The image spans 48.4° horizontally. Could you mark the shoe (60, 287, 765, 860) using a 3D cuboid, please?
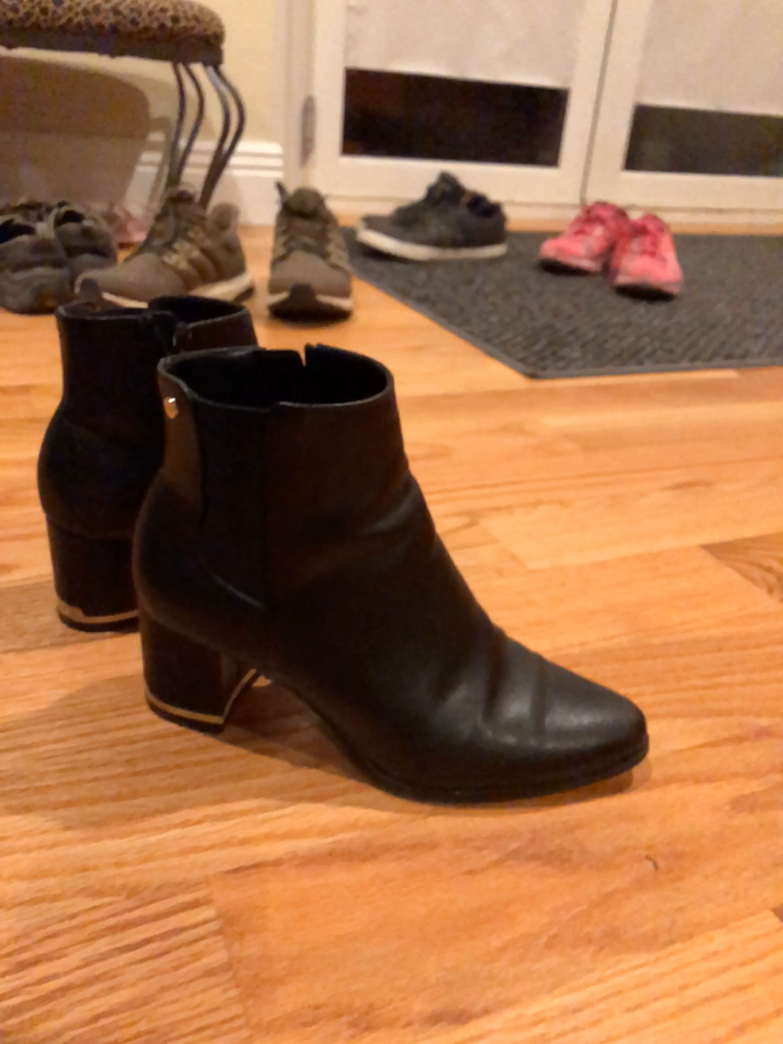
[{"bbox_3d":[0.003,0.013,0.364,0.236,0.175,0.096,10,26,10],"label":"shoe"}]

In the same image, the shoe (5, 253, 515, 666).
[{"bbox_3d":[-0.068,-0.047,0.477,0.236,0.175,0.095,-10,29,-28],"label":"shoe"}]
